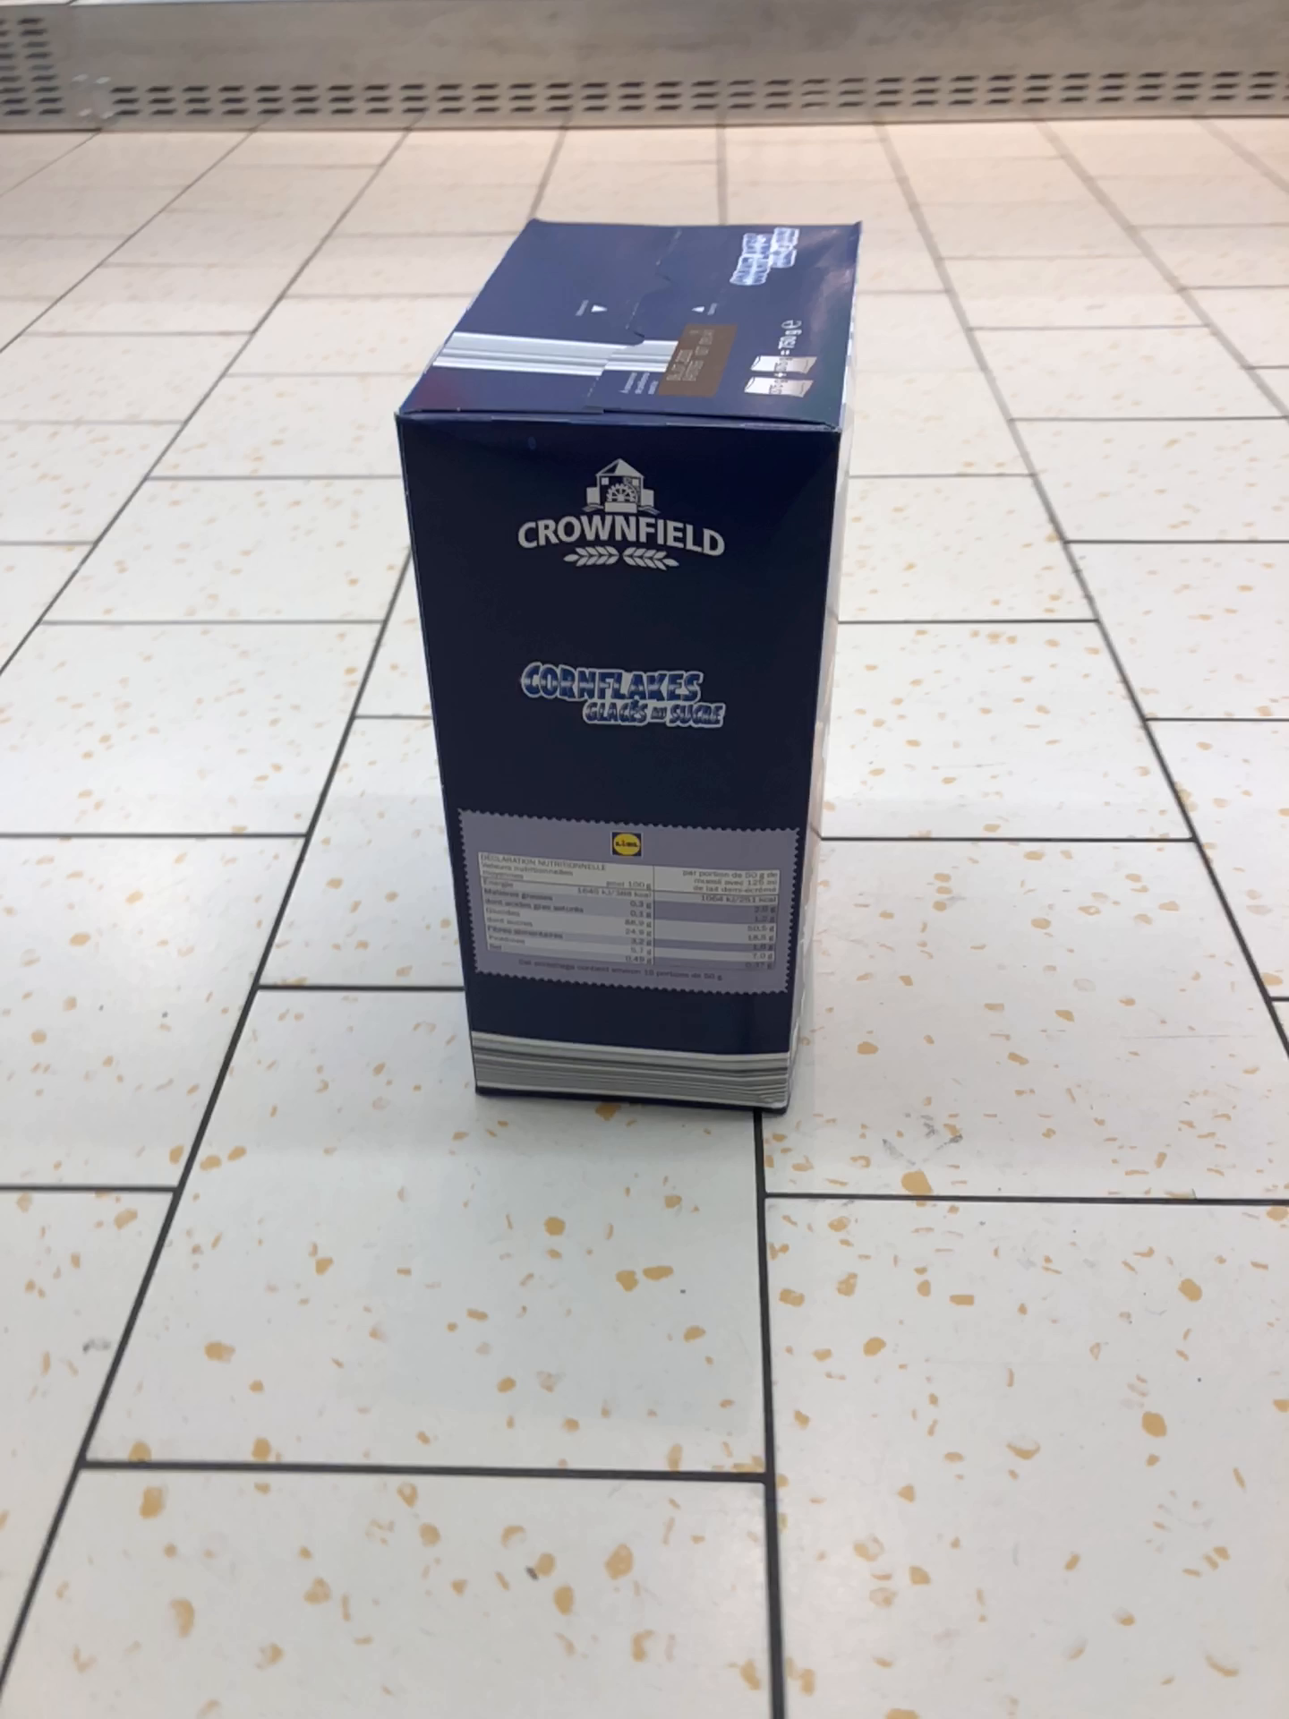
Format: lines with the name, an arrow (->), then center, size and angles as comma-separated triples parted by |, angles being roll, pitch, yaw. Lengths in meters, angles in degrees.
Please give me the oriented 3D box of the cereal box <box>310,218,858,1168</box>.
cereal box -> -0.001, -0.064, 0.507 | 0.130, 0.259, 0.211 | 4, 38, 7
